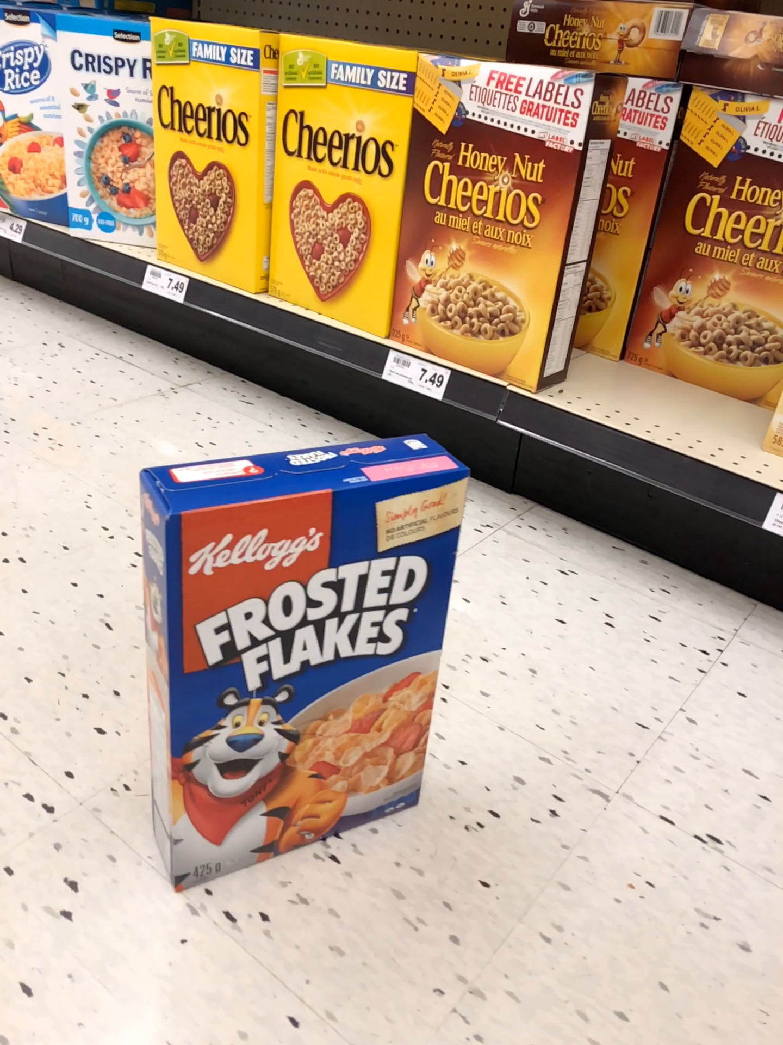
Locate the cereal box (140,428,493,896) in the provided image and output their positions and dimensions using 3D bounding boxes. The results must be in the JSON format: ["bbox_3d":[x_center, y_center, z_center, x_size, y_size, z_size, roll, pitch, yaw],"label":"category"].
[{"bbox_3d":[-0.057,0.093,0.581,0.200,0.288,0.070,-10,33,-29],"label":"cereal box"}]
